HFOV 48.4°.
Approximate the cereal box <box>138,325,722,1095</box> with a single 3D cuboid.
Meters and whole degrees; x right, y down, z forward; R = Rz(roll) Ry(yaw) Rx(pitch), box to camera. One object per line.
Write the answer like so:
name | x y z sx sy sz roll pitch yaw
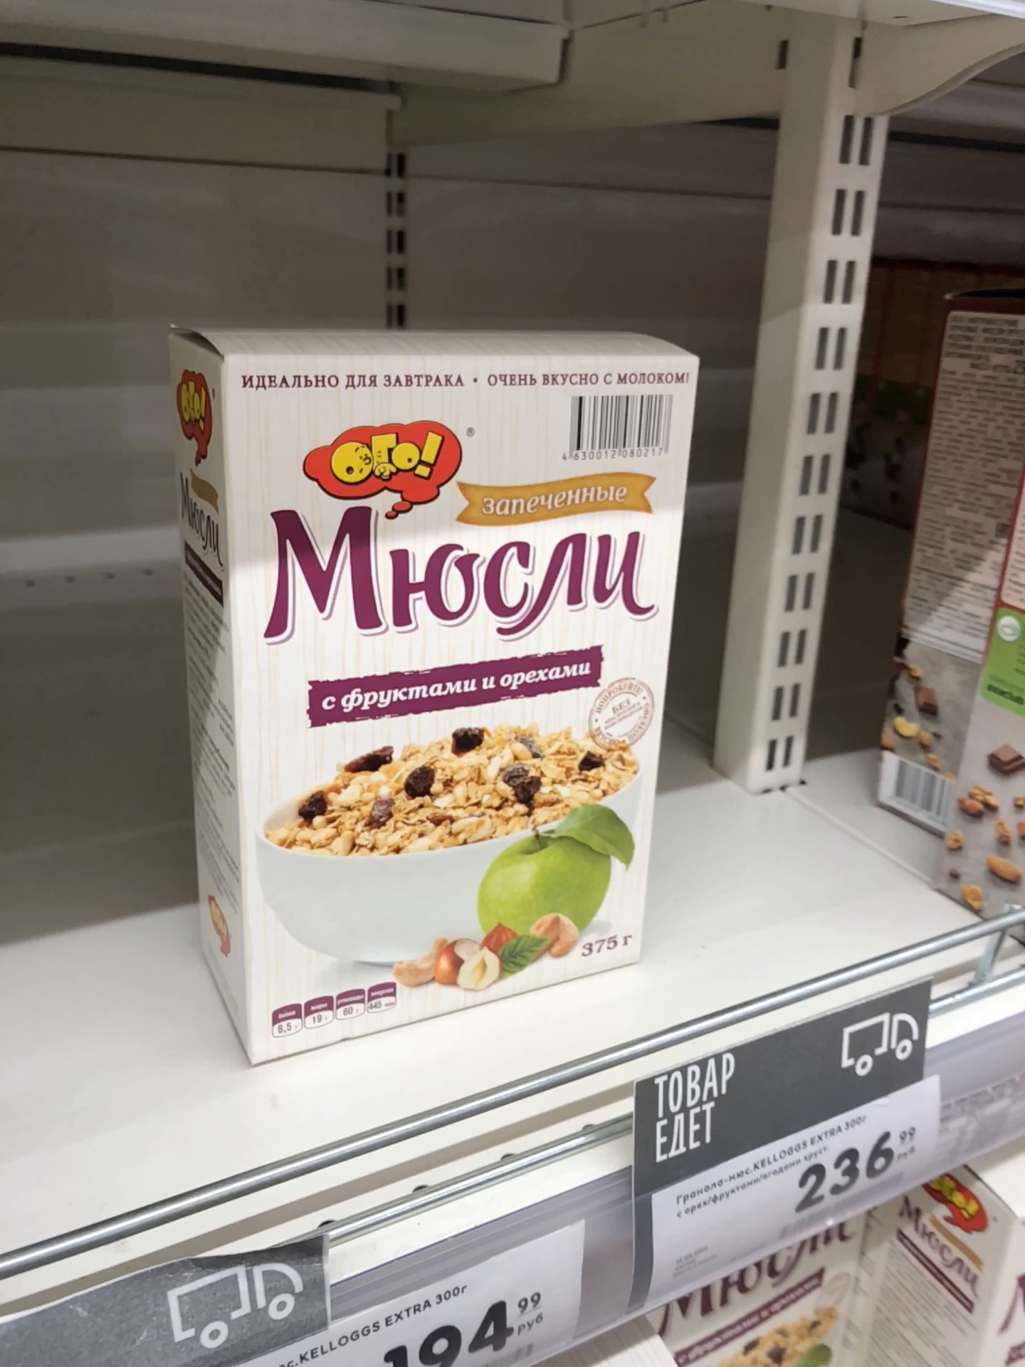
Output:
cereal box | -0.026 0.000 0.341 0.140 0.199 0.070 -8 23 -25
